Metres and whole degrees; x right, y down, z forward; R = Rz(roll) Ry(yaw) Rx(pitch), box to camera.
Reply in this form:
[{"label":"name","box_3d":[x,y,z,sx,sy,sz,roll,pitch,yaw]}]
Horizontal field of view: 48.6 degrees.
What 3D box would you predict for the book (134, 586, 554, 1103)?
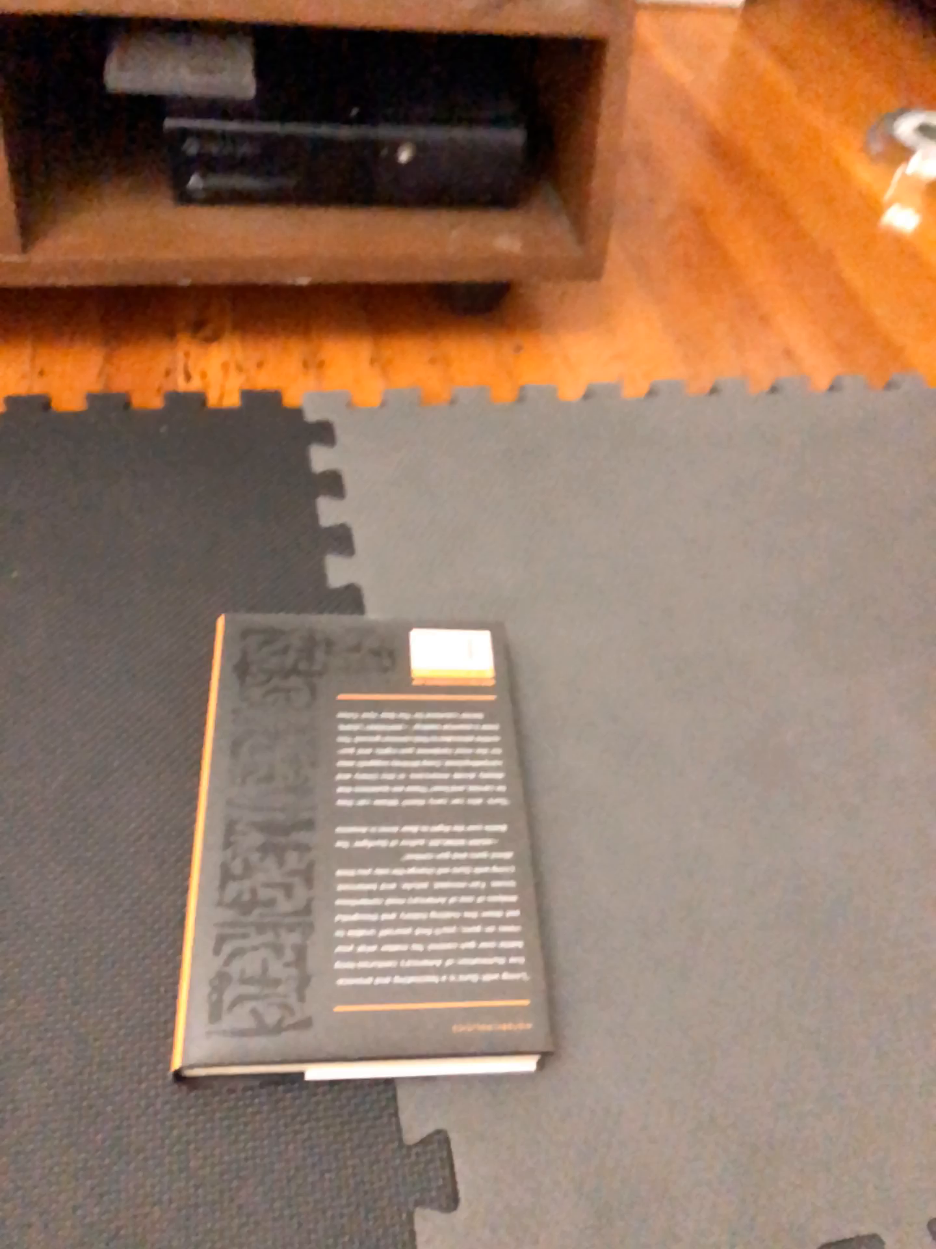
[{"label":"book","box_3d":[-0.058,0.094,0.522,0.170,0.040,0.261,2,50,-7]}]
